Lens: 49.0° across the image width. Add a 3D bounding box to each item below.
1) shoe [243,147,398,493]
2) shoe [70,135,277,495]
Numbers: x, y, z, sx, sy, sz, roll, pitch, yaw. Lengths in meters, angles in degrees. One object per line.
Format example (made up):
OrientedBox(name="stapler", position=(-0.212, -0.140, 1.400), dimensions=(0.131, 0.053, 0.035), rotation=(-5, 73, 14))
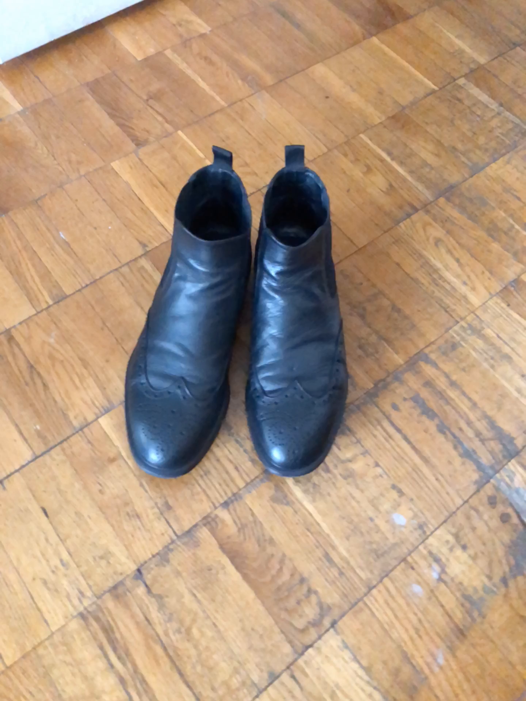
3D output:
OrientedBox(name="shoe", position=(0.043, -0.031, 0.558), dimensions=(0.110, 0.139, 0.301), rotation=(3, 63, -3))
OrientedBox(name="shoe", position=(-0.068, -0.037, 0.551), dimensions=(0.110, 0.139, 0.301), rotation=(10, 62, 1))
